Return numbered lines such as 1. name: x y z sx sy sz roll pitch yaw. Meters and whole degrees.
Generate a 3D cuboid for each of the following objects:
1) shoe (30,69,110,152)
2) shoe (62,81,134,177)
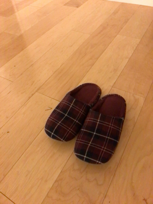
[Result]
1. shoe: -0.006 0.008 0.519 0.120 0.050 0.261 23 55 23
2. shoe: 0.075 0.058 0.488 0.120 0.050 0.272 17 53 18
